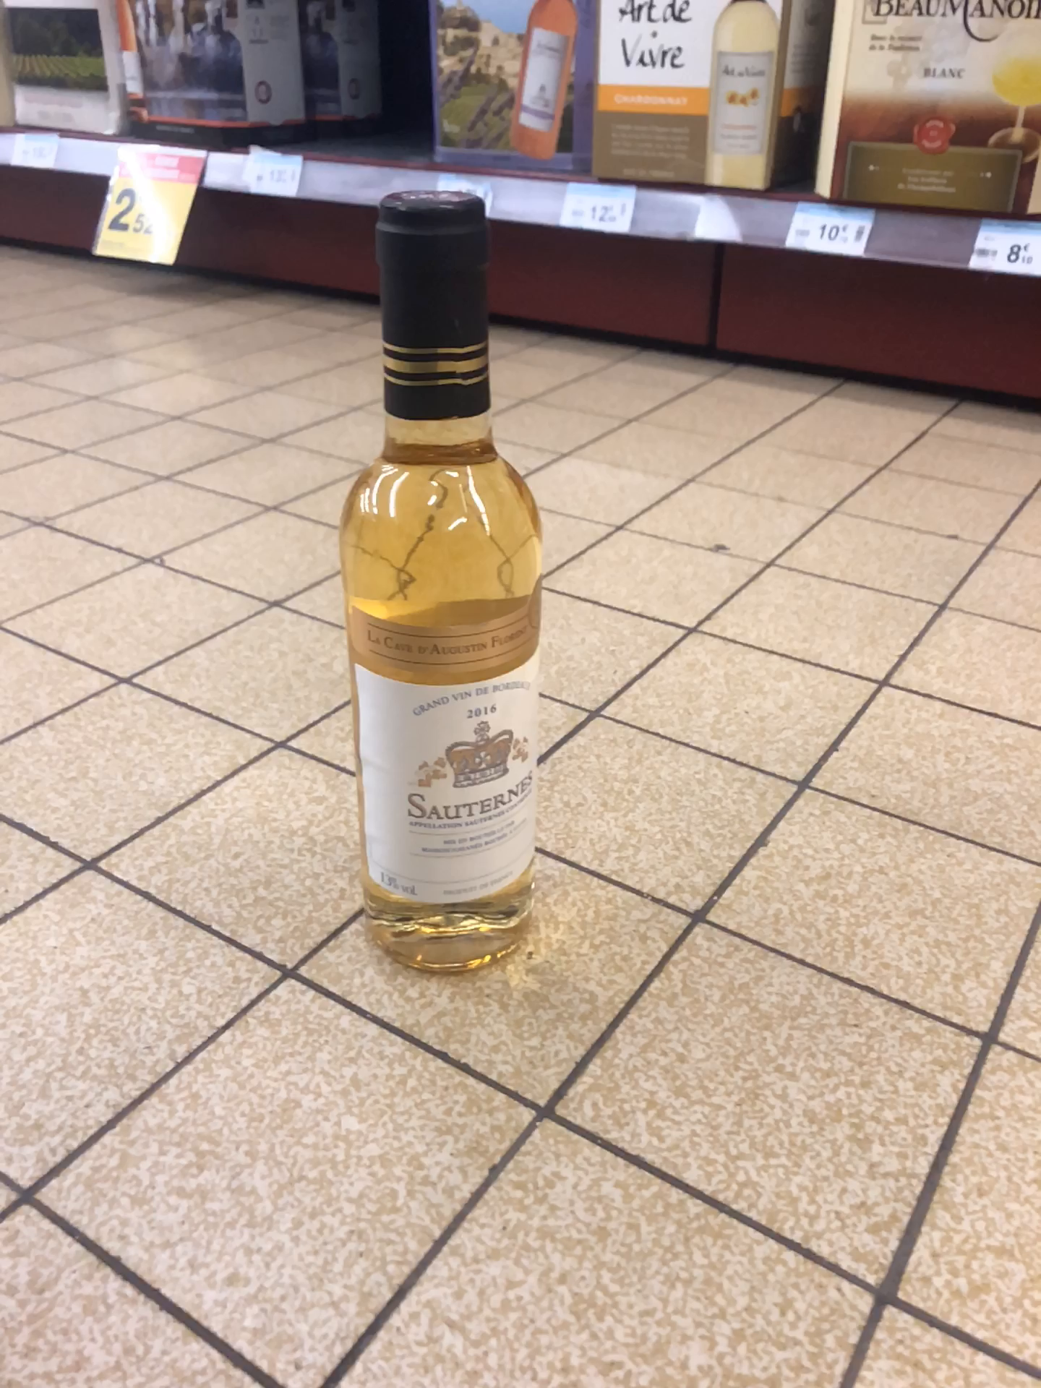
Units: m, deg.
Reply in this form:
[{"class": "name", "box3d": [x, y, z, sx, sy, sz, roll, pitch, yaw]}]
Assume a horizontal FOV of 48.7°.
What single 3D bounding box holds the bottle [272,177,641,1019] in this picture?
[{"class": "bottle", "box3d": [-0.019, -0.024, 0.353, 0.070, 0.239, 0.070, 1, 29, 0]}]
